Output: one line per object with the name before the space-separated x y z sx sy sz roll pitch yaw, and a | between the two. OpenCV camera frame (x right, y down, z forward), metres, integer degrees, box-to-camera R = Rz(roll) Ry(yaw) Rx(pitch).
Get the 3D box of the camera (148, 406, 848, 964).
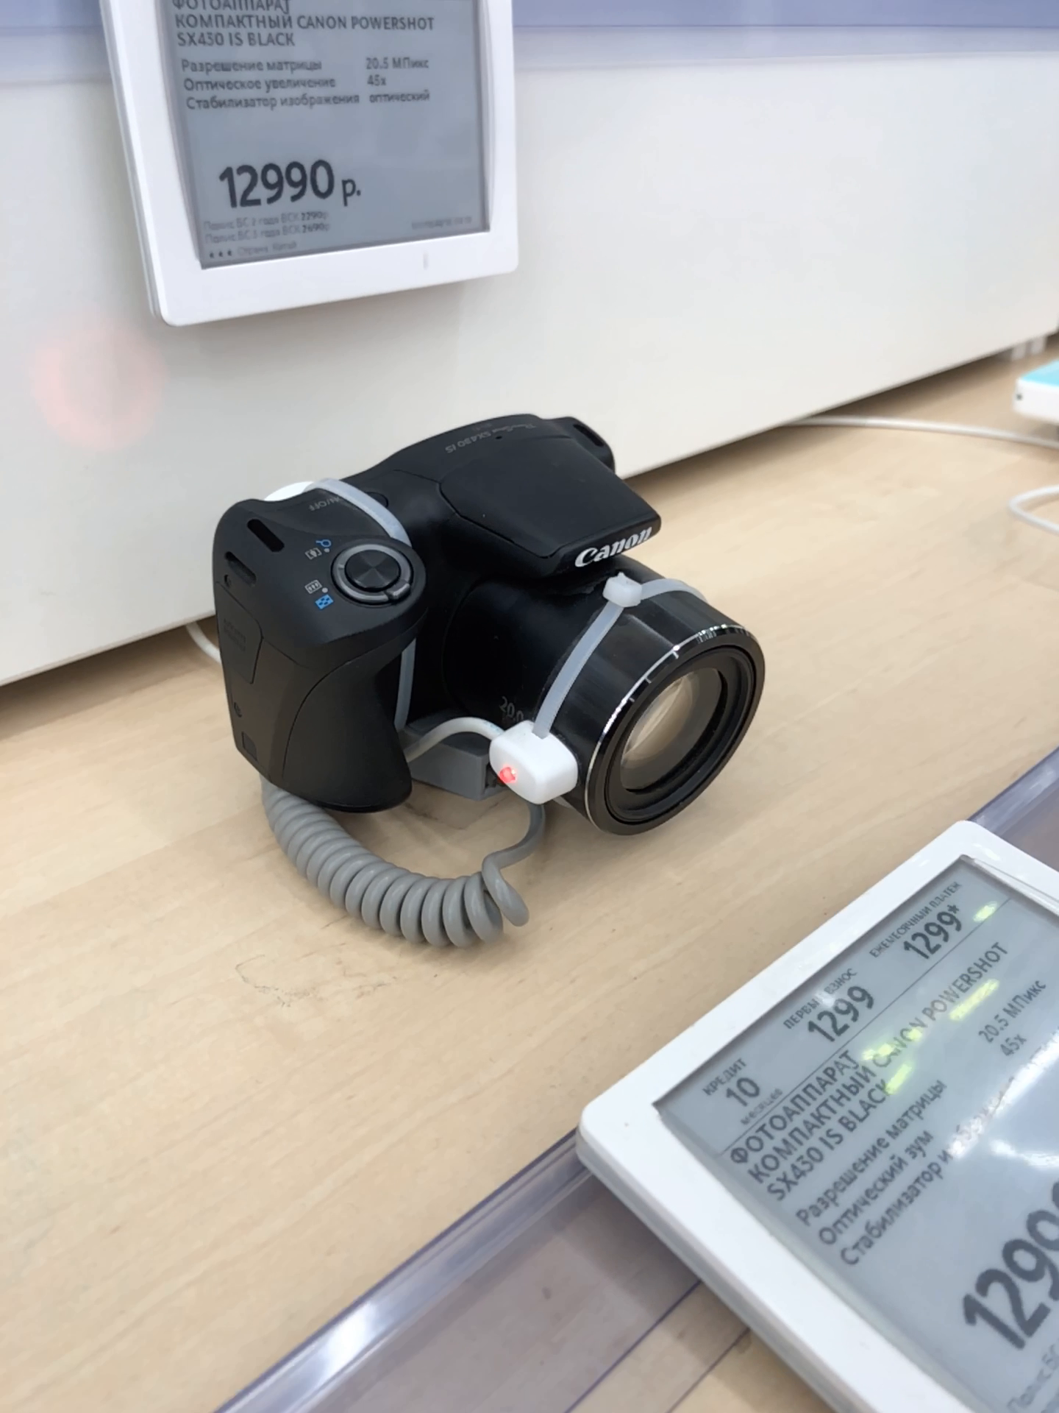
camera | -0.004 -0.017 0.263 0.093 0.062 0.117 24 37 38
